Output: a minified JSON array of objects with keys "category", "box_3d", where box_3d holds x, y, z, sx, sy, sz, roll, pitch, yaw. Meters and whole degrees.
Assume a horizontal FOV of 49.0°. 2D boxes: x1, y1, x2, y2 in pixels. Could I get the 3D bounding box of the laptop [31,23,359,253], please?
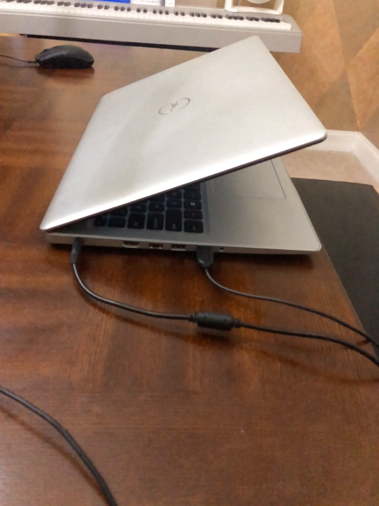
[{"category":"laptop","box_3d":[0.002,-0.163,0.489,0.249,0.103,0.371,4,38,-5]}]
